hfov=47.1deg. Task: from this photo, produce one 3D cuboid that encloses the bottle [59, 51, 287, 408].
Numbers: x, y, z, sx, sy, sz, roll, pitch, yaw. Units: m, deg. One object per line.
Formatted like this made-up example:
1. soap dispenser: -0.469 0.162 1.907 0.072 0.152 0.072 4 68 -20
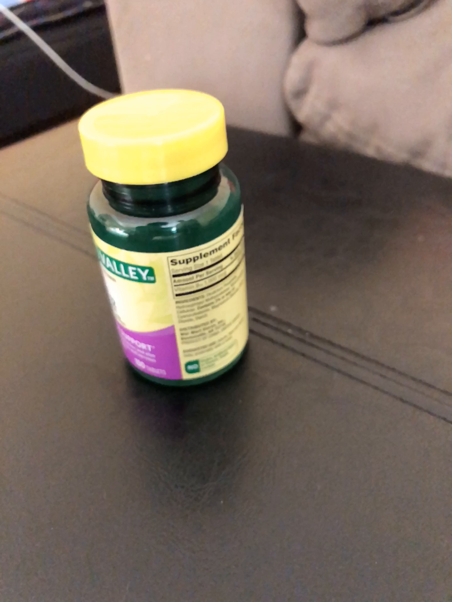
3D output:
1. bottle: -0.015 -0.021 0.162 0.050 0.090 0.050 -2 39 2
